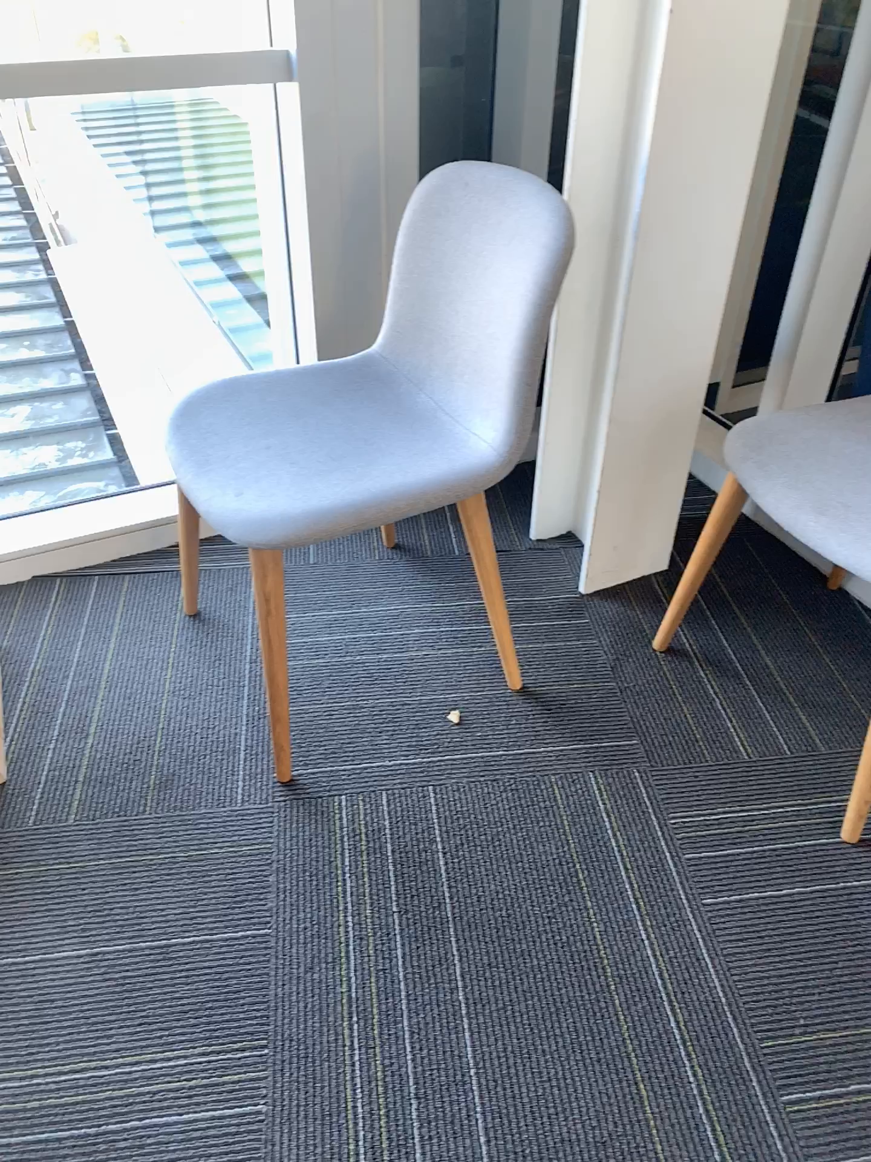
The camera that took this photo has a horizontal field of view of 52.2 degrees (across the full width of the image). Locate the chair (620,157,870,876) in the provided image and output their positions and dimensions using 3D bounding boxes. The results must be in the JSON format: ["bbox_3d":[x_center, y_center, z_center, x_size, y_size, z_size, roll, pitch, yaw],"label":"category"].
[{"bbox_3d":[0.728,-0.128,1.279,0.590,0.726,0.563,-17,41,-22],"label":"chair"}]

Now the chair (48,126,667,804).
[{"bbox_3d":[-0.146,-0.230,1.405,0.600,0.726,0.654,-18,42,-24],"label":"chair"}]
